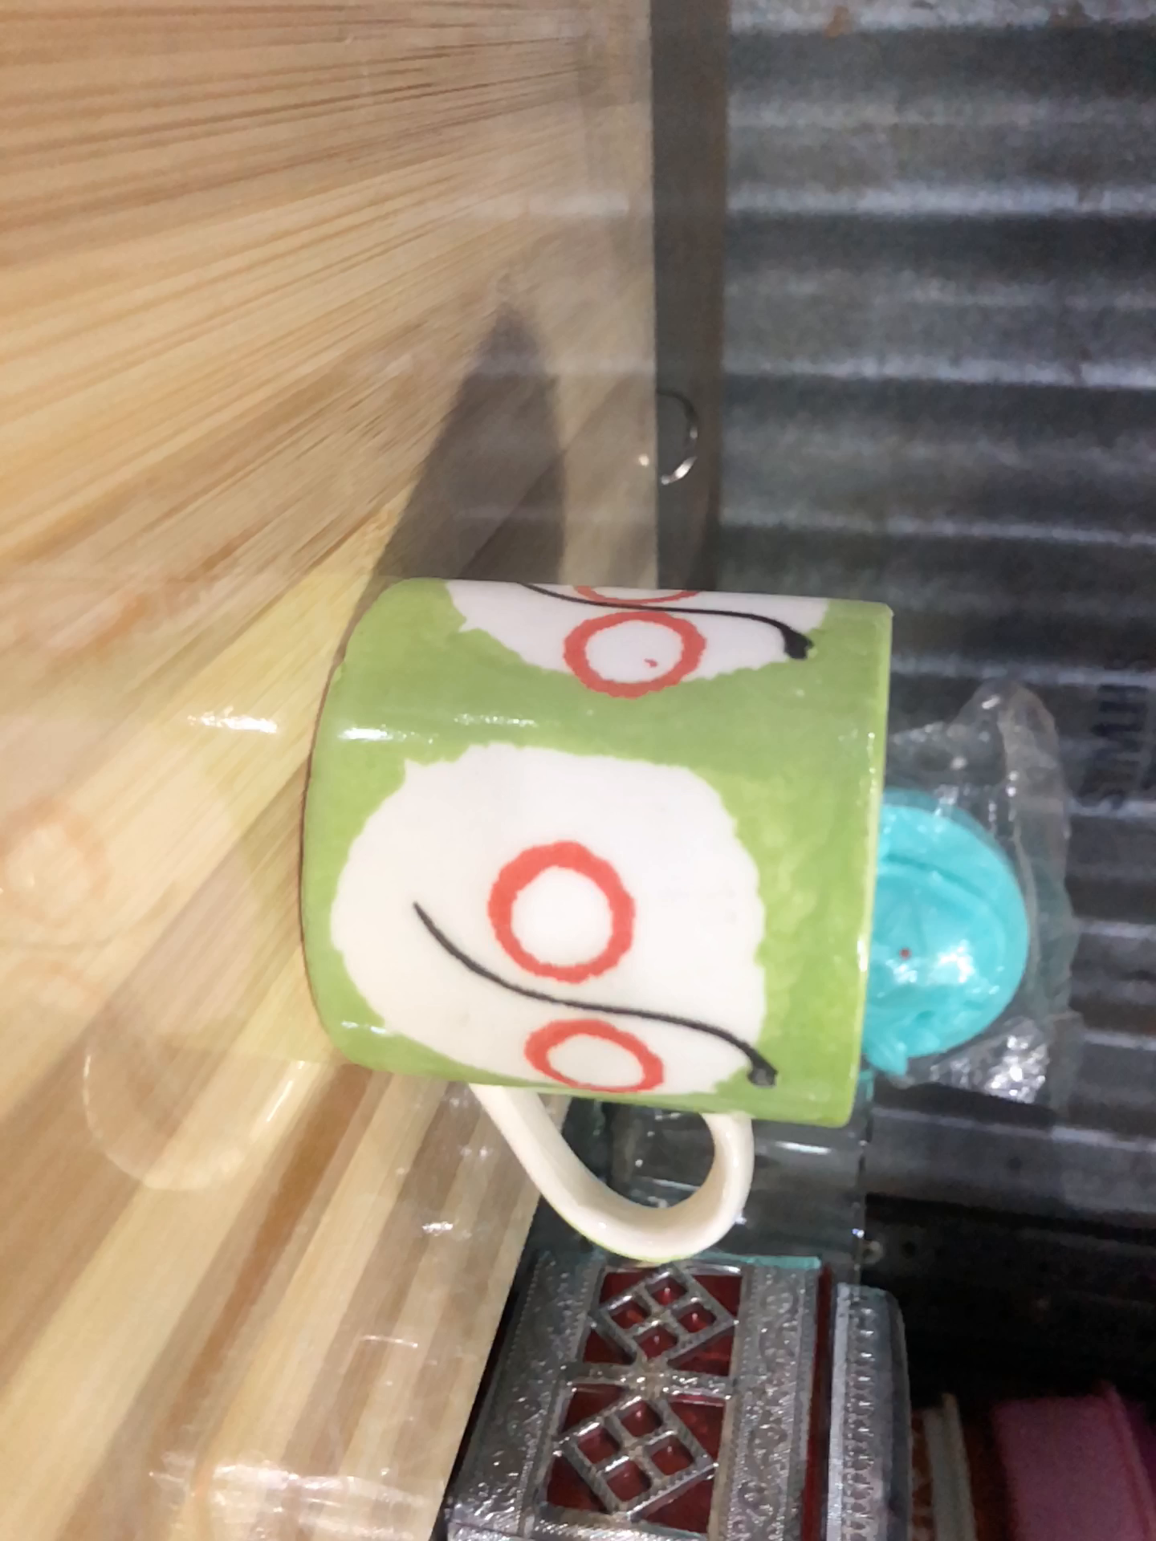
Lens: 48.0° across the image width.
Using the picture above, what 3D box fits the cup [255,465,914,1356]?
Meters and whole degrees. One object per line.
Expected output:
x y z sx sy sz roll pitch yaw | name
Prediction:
0.006 0.013 0.186 0.070 0.070 0.100 -62 154 -65 | cup
